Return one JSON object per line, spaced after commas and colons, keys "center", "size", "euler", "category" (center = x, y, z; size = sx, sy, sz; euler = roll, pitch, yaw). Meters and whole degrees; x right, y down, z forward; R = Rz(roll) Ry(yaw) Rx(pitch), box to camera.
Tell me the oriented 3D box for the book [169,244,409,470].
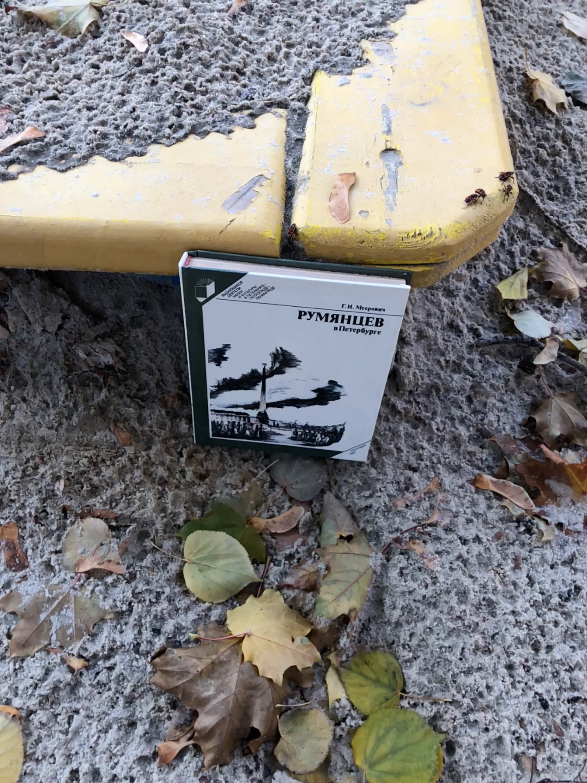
{"center": [-0.004, -0.017, 0.433], "size": [0.140, 0.155, 0.020], "euler": [7, 42, 7], "category": "book"}
